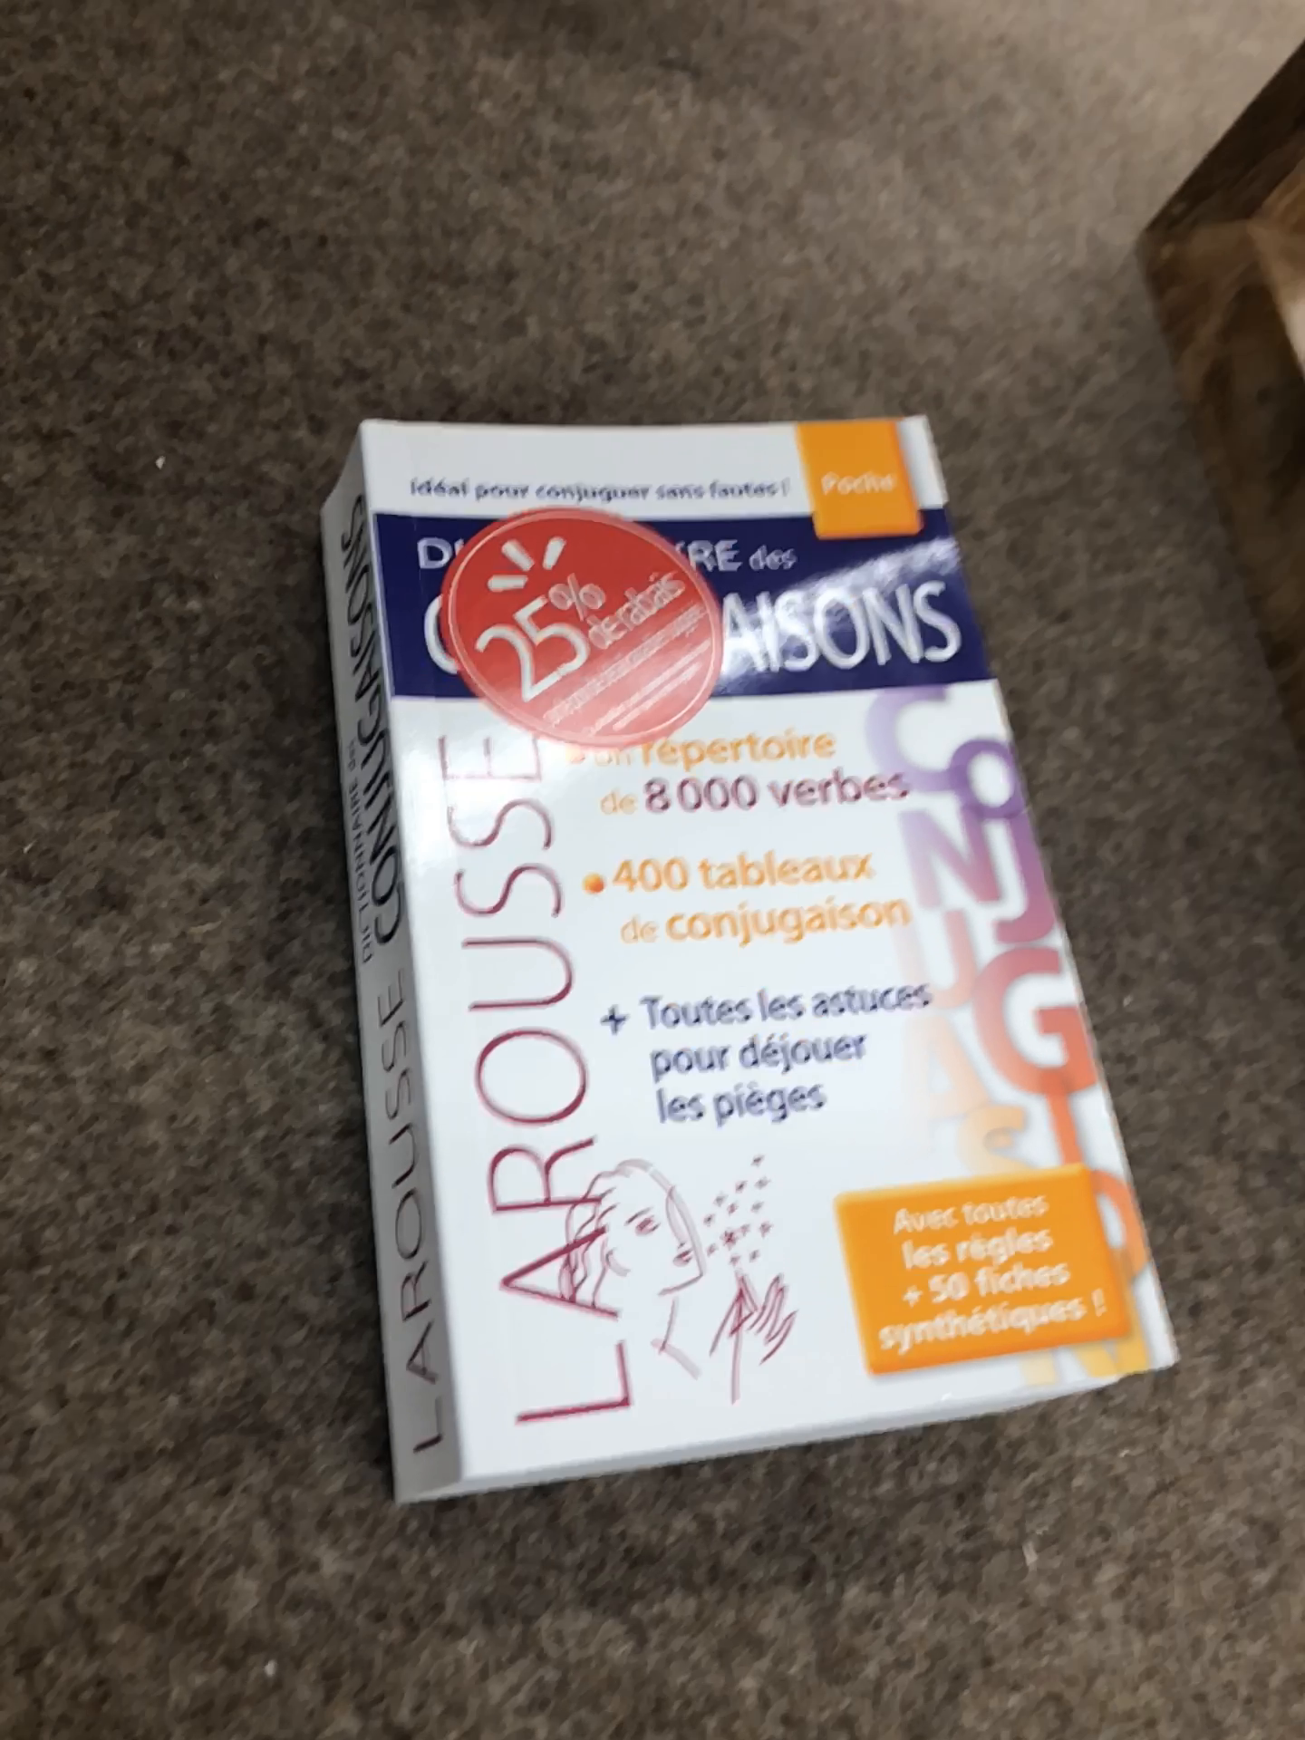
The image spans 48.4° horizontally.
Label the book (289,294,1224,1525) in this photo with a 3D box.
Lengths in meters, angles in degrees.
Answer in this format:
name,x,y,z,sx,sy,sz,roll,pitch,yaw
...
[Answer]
name,x,y,z,sx,sy,sz,roll,pitch,yaw
book,0.006,0.001,0.267,0.125,0.059,0.199,2,63,-23
